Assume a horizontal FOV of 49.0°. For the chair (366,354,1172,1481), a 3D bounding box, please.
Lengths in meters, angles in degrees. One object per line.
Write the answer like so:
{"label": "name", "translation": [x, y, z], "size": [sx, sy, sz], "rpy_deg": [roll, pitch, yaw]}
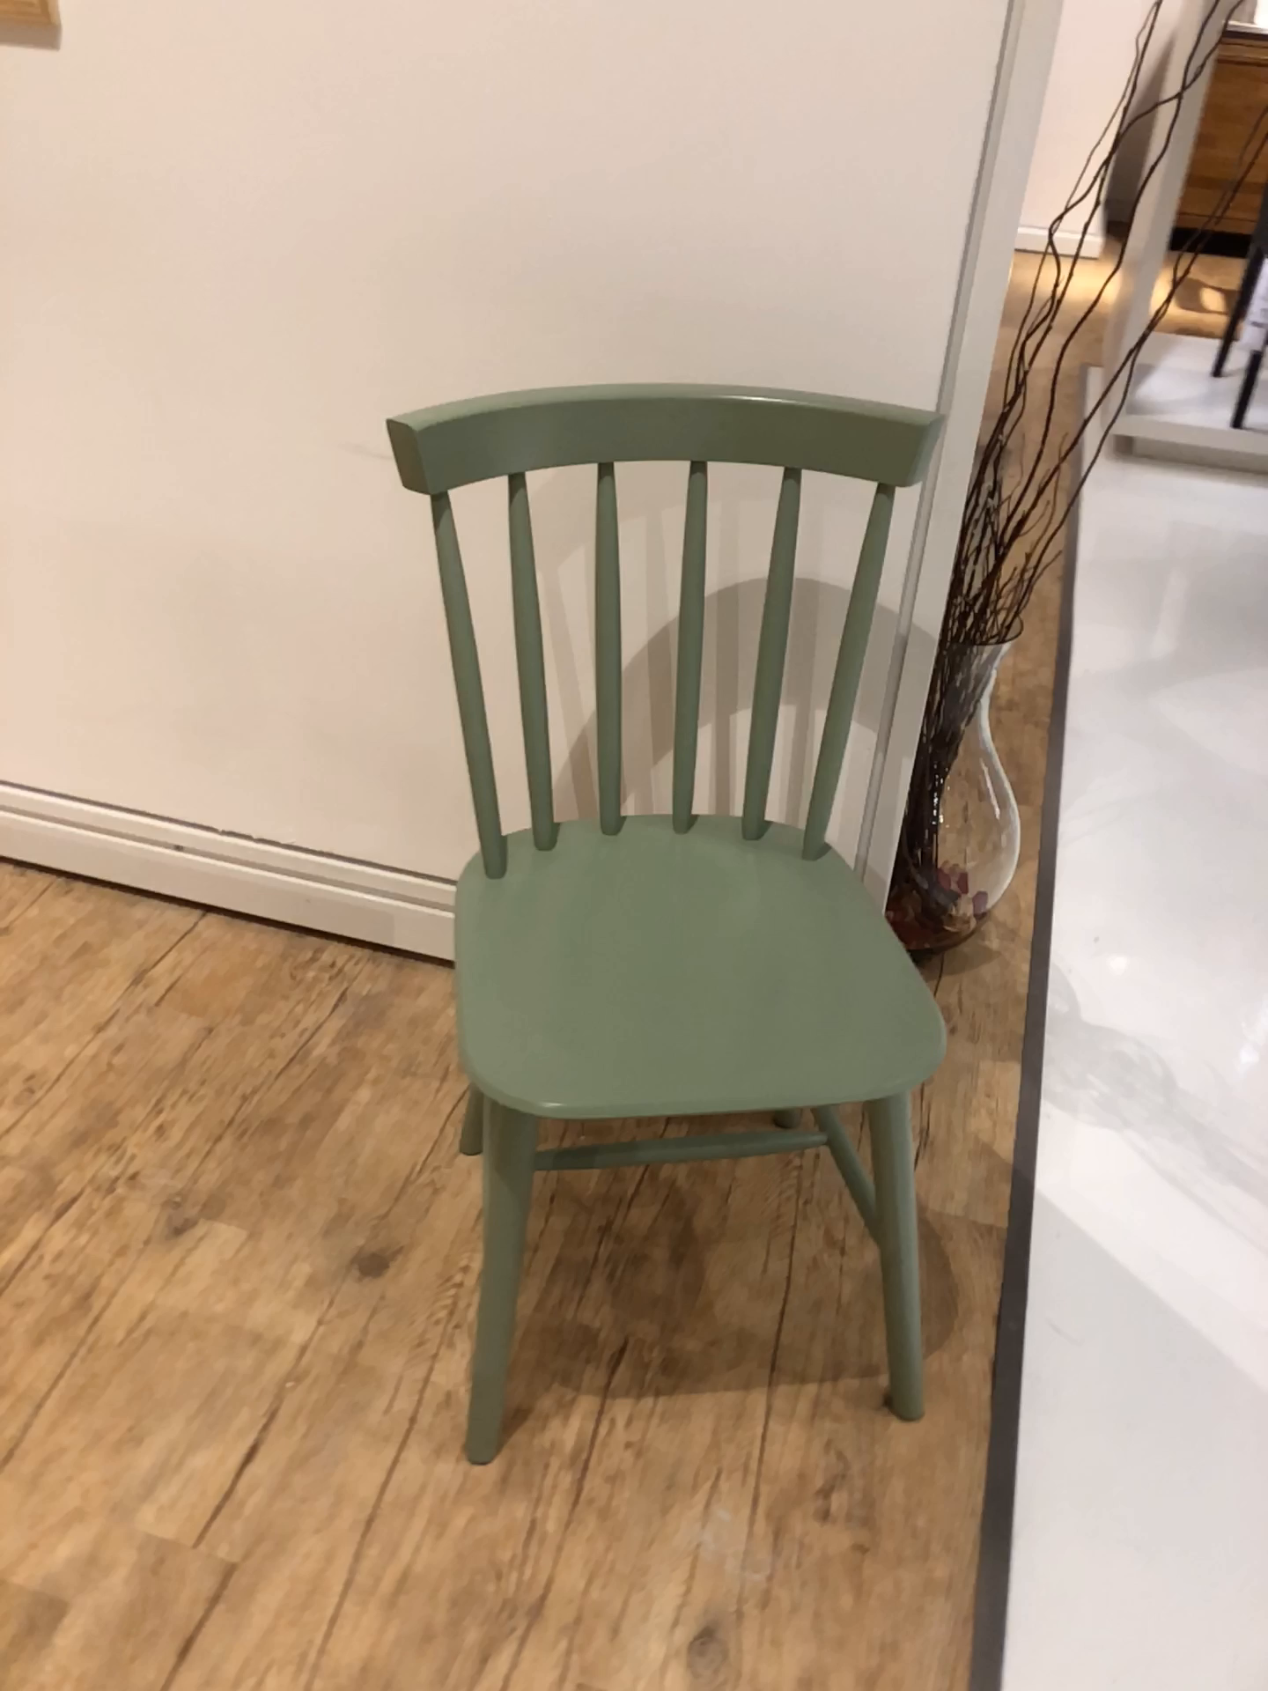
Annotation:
{"label": "chair", "translation": [0.030, 0.059, 1.229], "size": [0.470, 0.814, 0.524], "rpy_deg": [-2, 34, -8]}
